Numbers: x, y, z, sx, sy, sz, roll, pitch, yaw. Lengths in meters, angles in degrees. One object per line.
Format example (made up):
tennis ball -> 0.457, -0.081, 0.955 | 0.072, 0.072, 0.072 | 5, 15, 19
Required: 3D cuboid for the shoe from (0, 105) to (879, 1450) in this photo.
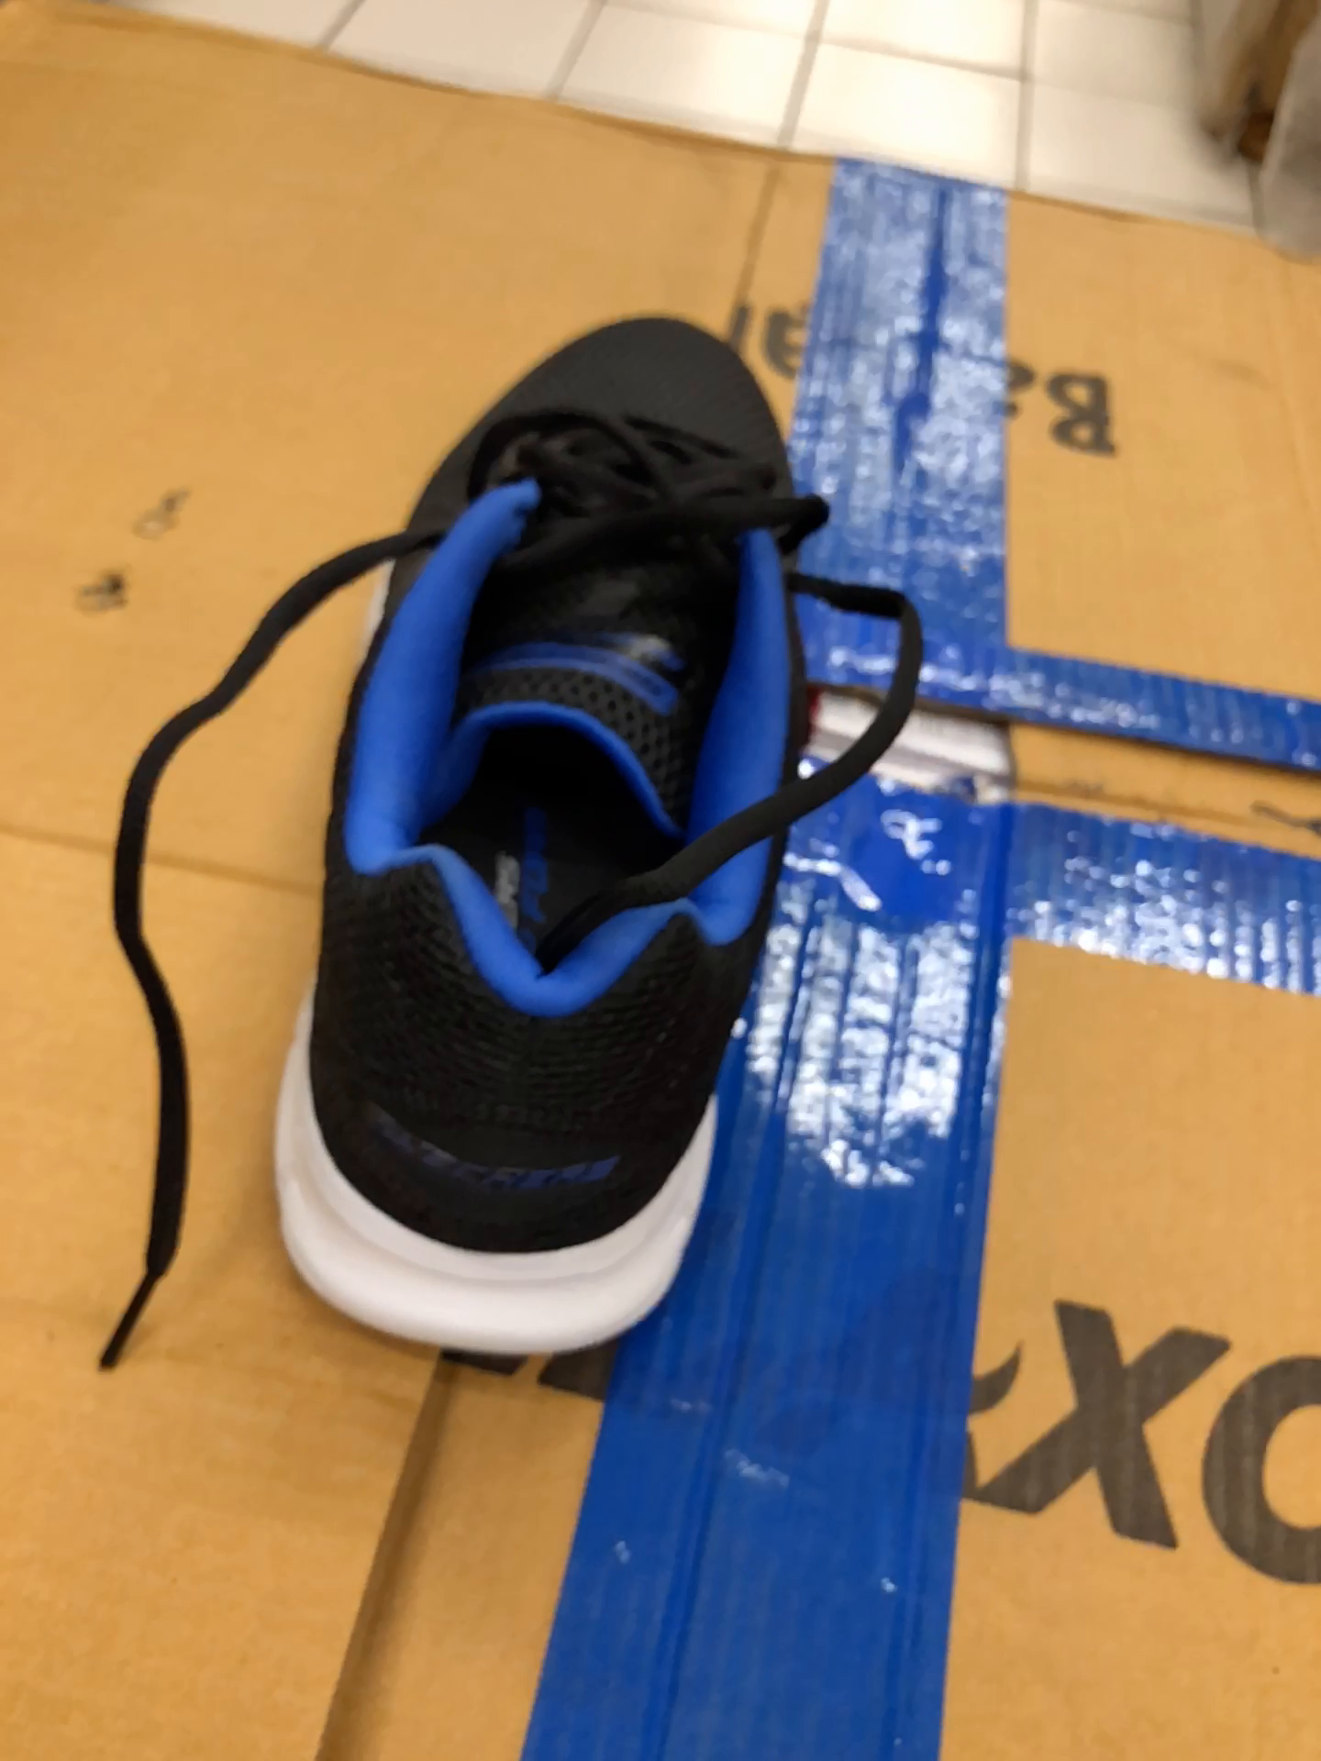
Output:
shoe -> -0.024, -0.039, 0.334 | 0.110, 0.129, 0.272 | 9, 51, 0
